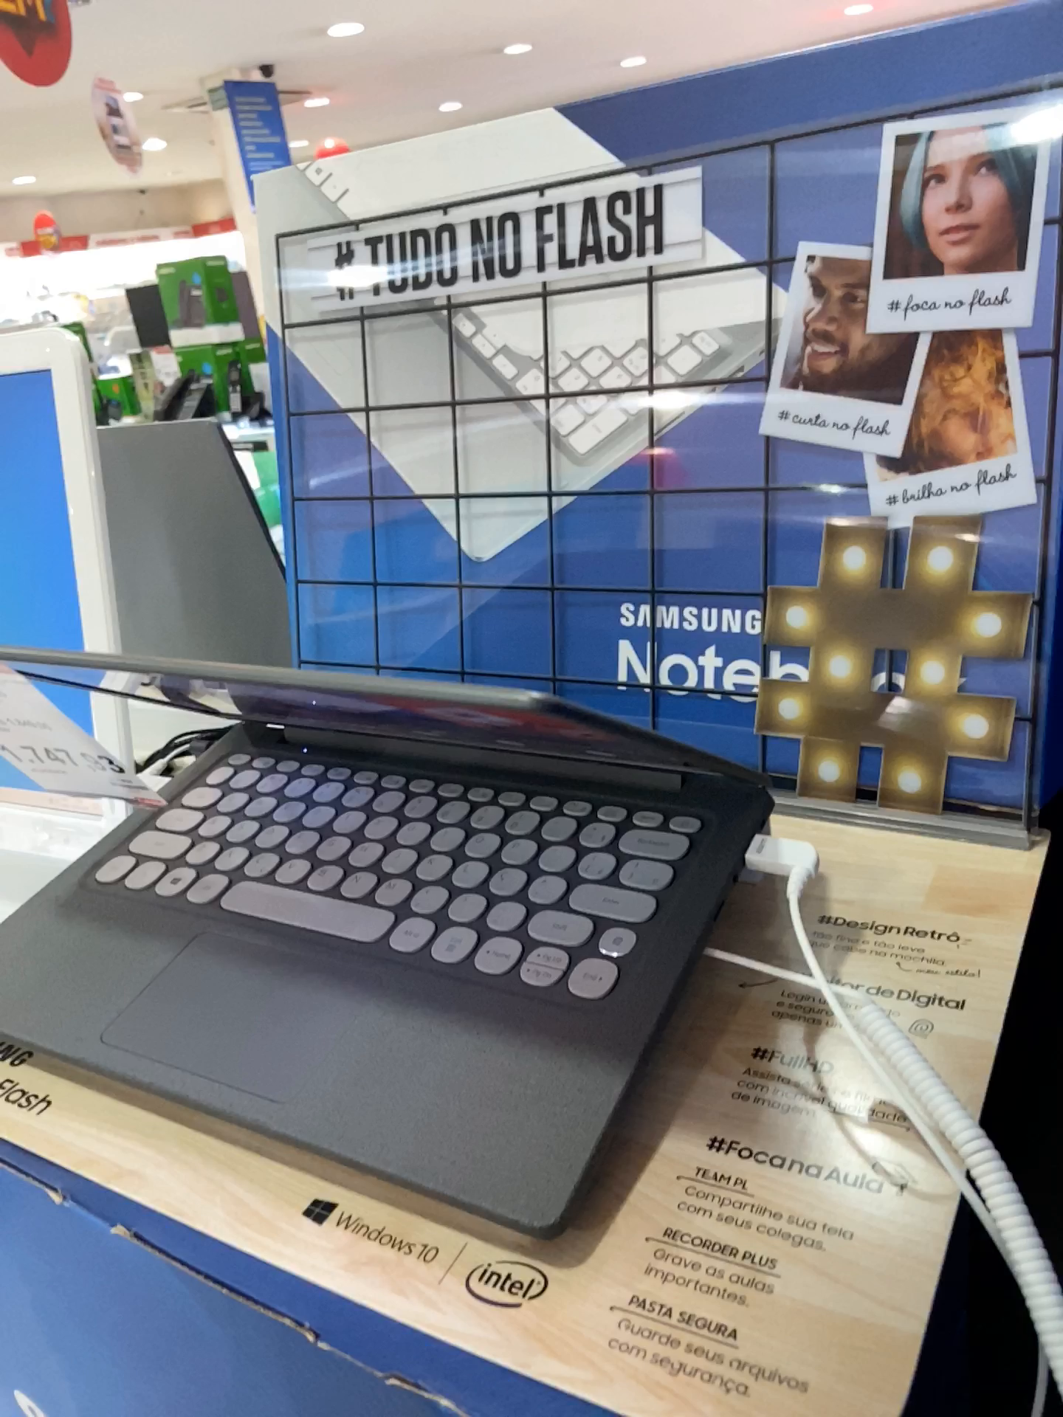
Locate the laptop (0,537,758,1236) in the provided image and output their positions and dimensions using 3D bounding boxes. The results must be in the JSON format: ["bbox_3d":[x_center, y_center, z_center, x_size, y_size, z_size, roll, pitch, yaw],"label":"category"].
[{"bbox_3d":[-0.097,0.033,0.459,0.323,0.114,0.211,4,34,31],"label":"laptop"}]
